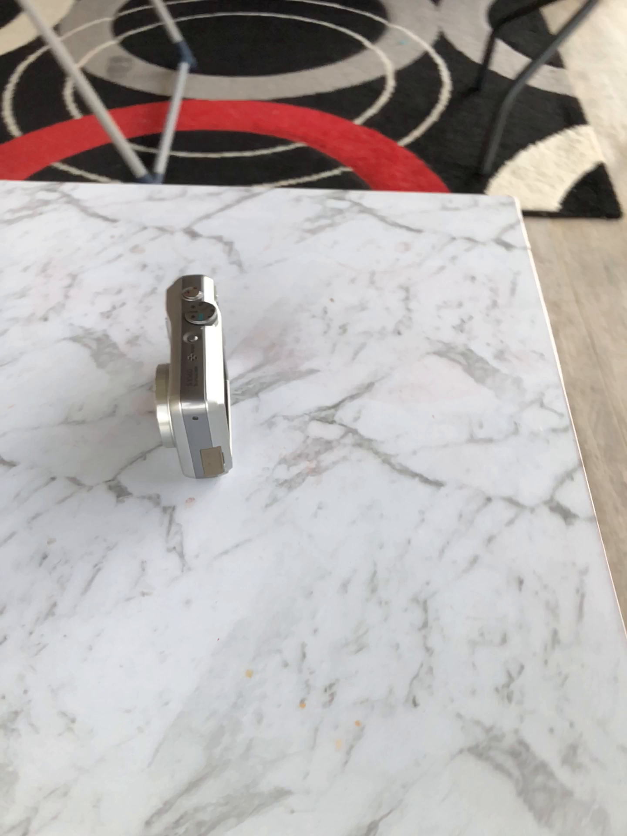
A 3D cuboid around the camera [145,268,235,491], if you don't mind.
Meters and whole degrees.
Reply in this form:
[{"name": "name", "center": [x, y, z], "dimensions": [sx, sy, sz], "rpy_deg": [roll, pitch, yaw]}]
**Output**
[{"name": "camera", "center": [-0.063, -0.022, 0.364], "dimensions": [0.034, 0.061, 0.099], "rpy_deg": [-5, 49, -4]}]
